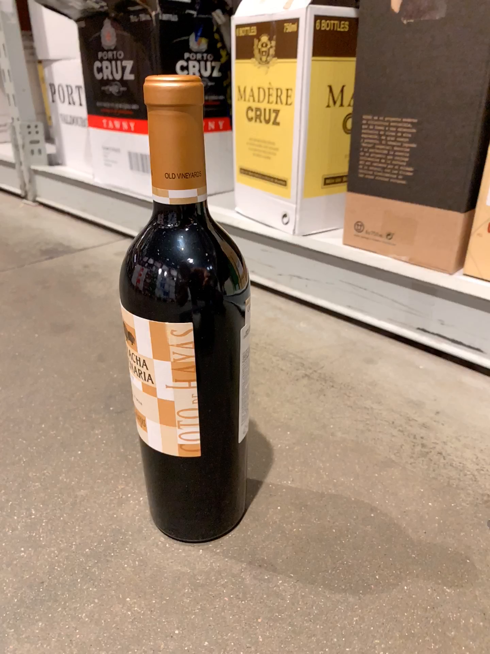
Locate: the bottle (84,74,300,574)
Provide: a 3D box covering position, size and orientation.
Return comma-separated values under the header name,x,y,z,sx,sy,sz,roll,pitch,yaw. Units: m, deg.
name,x,y,z,sx,sy,sz,roll,pitch,yaw
bottle,-0.028,0.009,0.340,0.080,0.317,0.080,0,28,0
